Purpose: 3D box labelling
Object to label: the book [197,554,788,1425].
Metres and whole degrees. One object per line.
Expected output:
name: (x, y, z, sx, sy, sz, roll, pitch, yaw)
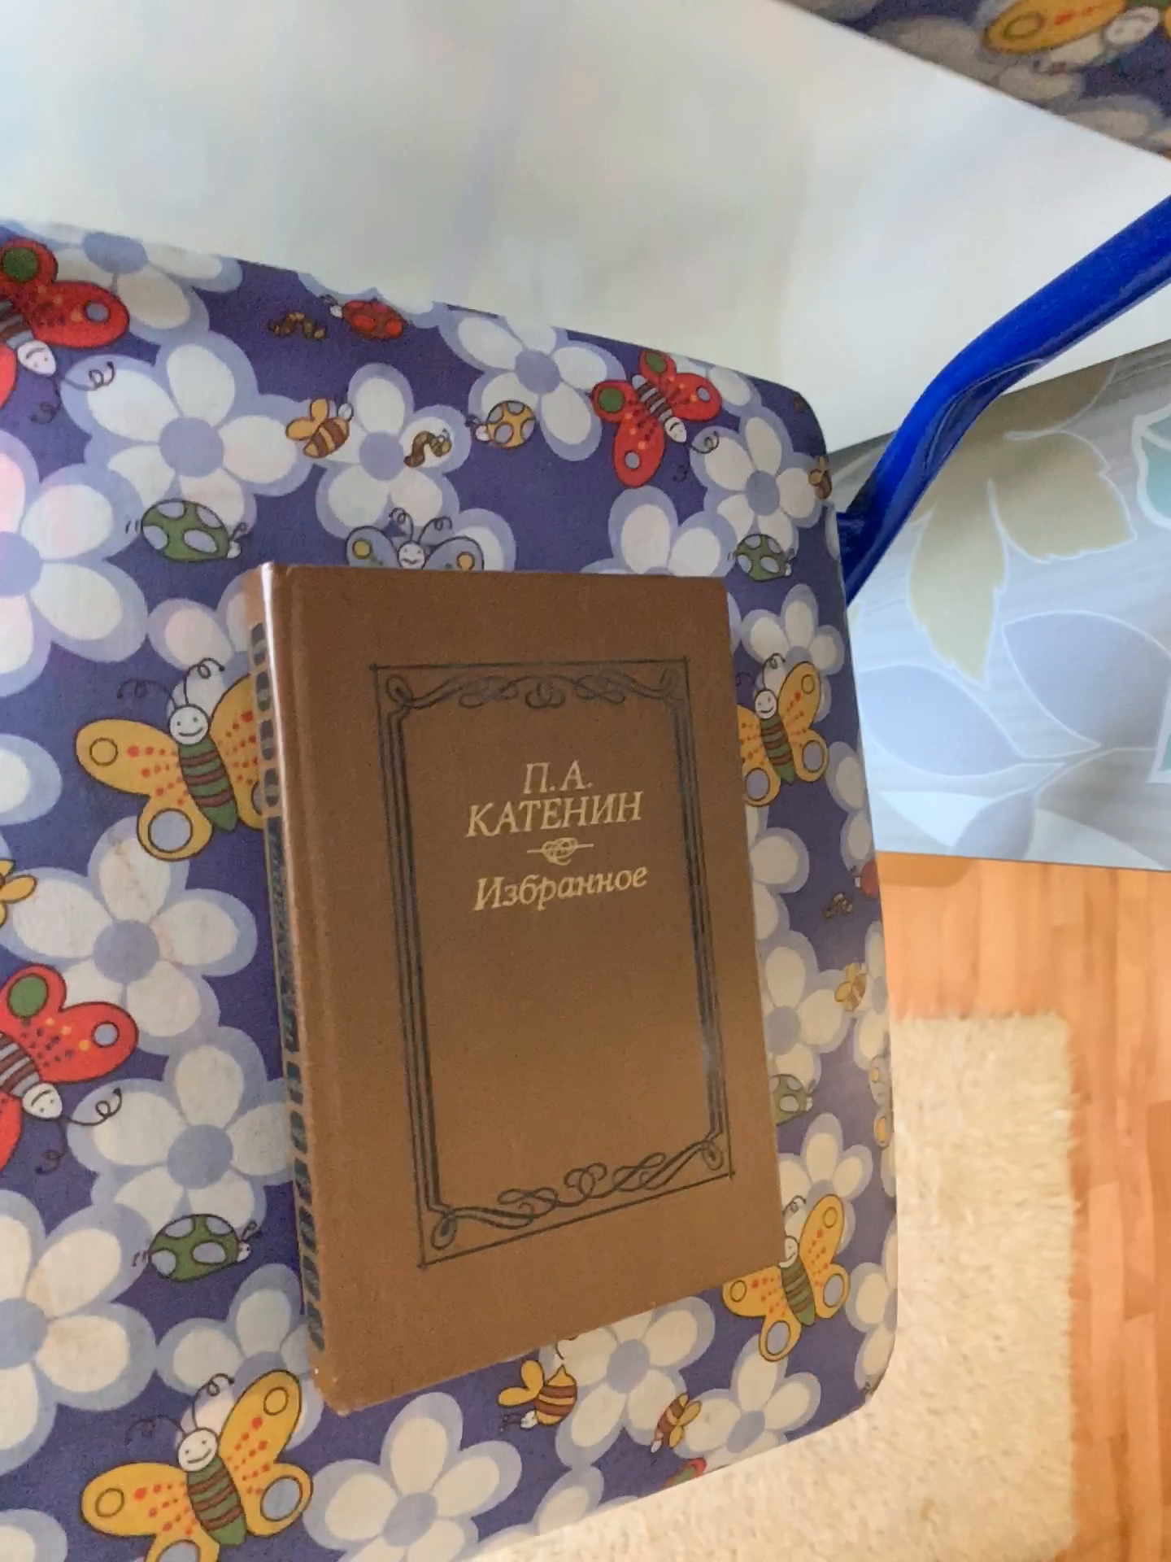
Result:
book: (-0.015, 0.036, 0.276, 0.124, 0.020, 0.170, -5, 90, -31)
